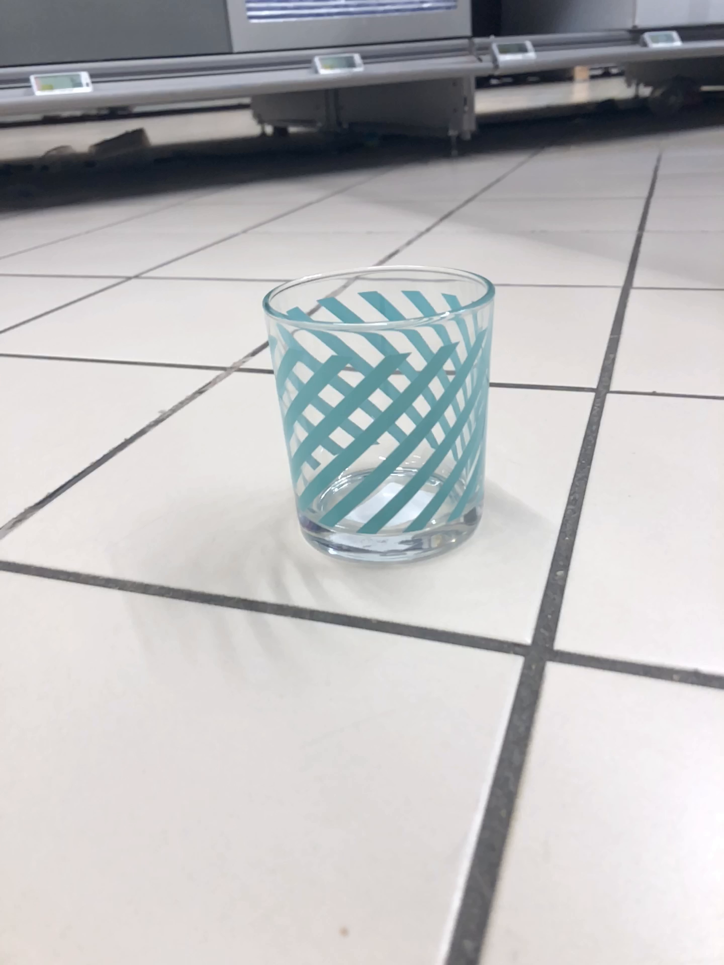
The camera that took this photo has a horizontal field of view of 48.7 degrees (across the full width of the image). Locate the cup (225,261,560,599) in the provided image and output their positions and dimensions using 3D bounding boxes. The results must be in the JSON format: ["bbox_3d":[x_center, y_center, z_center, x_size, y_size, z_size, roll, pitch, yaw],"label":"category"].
[{"bbox_3d":[0.013,-0.024,0.276,0.079,0.080,0.076,-4,27,2],"label":"cup"}]
